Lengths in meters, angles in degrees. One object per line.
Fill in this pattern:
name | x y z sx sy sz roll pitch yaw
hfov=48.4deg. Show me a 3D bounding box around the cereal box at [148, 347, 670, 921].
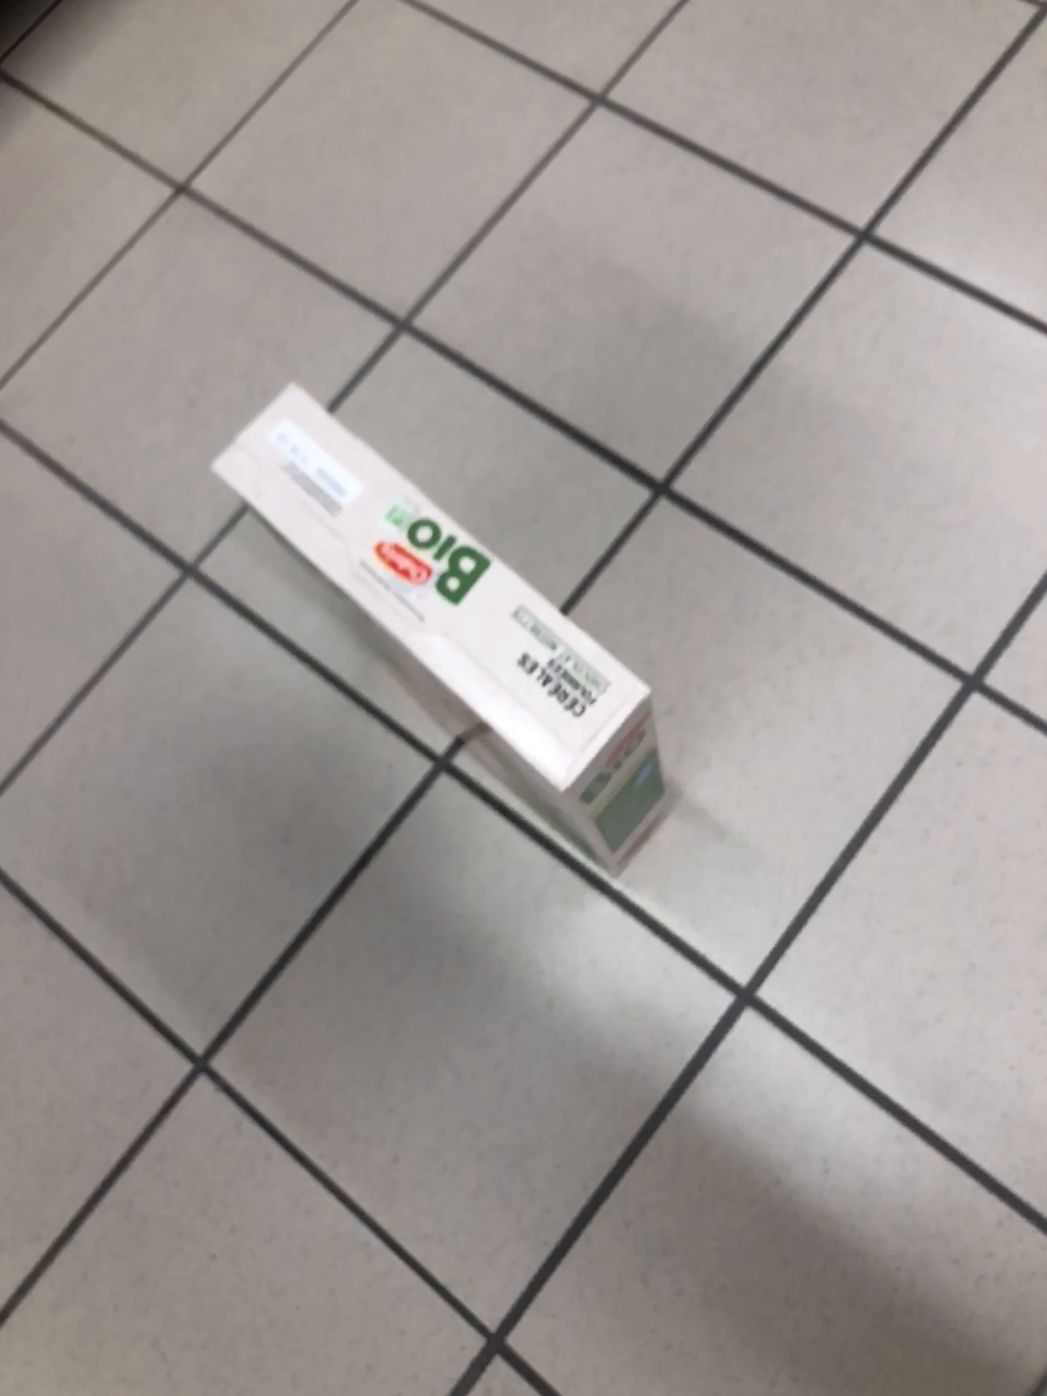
cereal box | -0.033 -0.010 0.527 0.060 0.240 0.210 -44 72 -7
